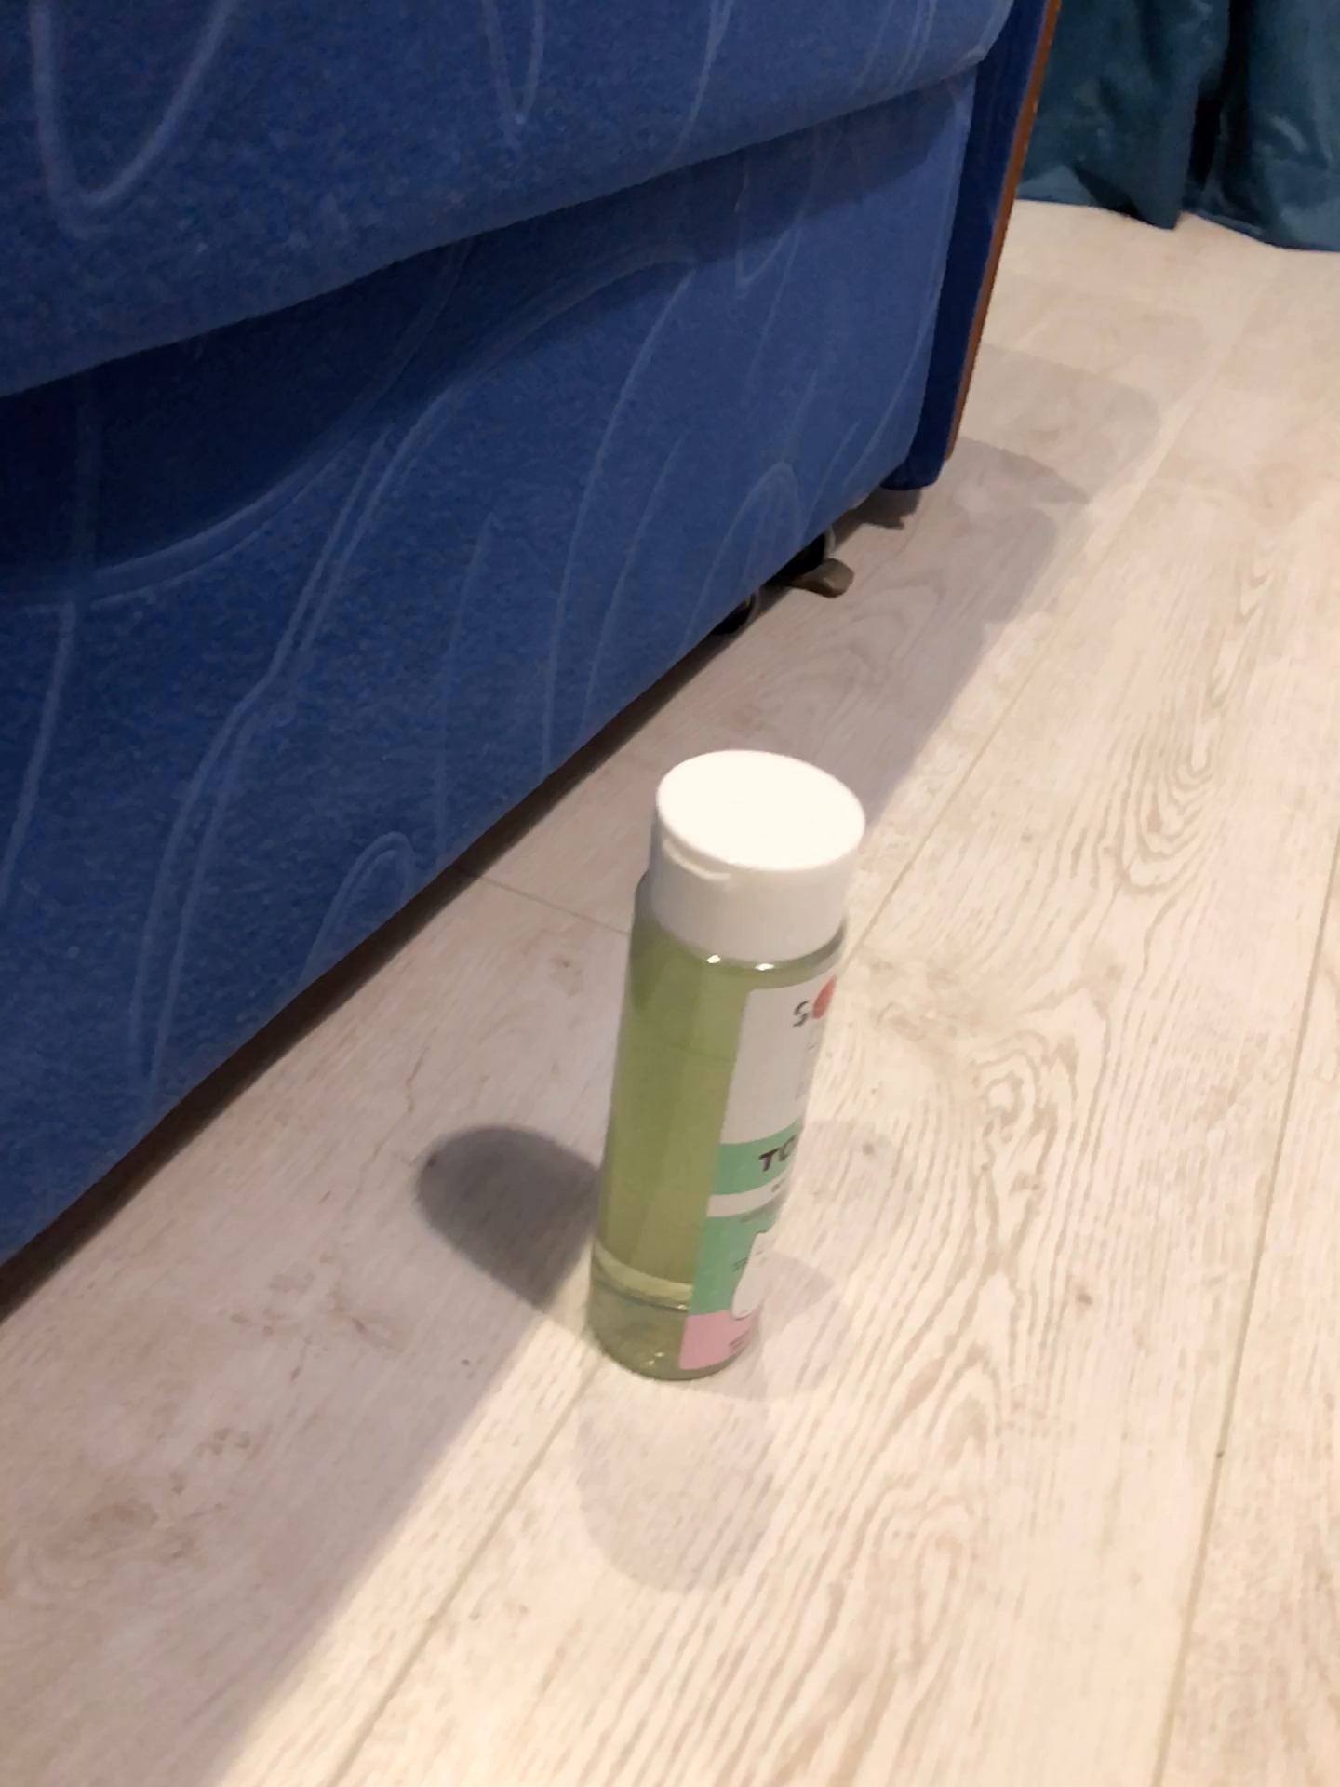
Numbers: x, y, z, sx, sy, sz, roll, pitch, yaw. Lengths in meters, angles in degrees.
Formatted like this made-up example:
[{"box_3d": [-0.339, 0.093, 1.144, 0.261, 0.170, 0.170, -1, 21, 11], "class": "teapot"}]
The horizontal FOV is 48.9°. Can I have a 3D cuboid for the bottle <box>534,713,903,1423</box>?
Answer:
[{"box_3d": [0.008, 0.046, 0.350, 0.053, 0.160, 0.057, 5, 37, -4], "class": "bottle"}]
